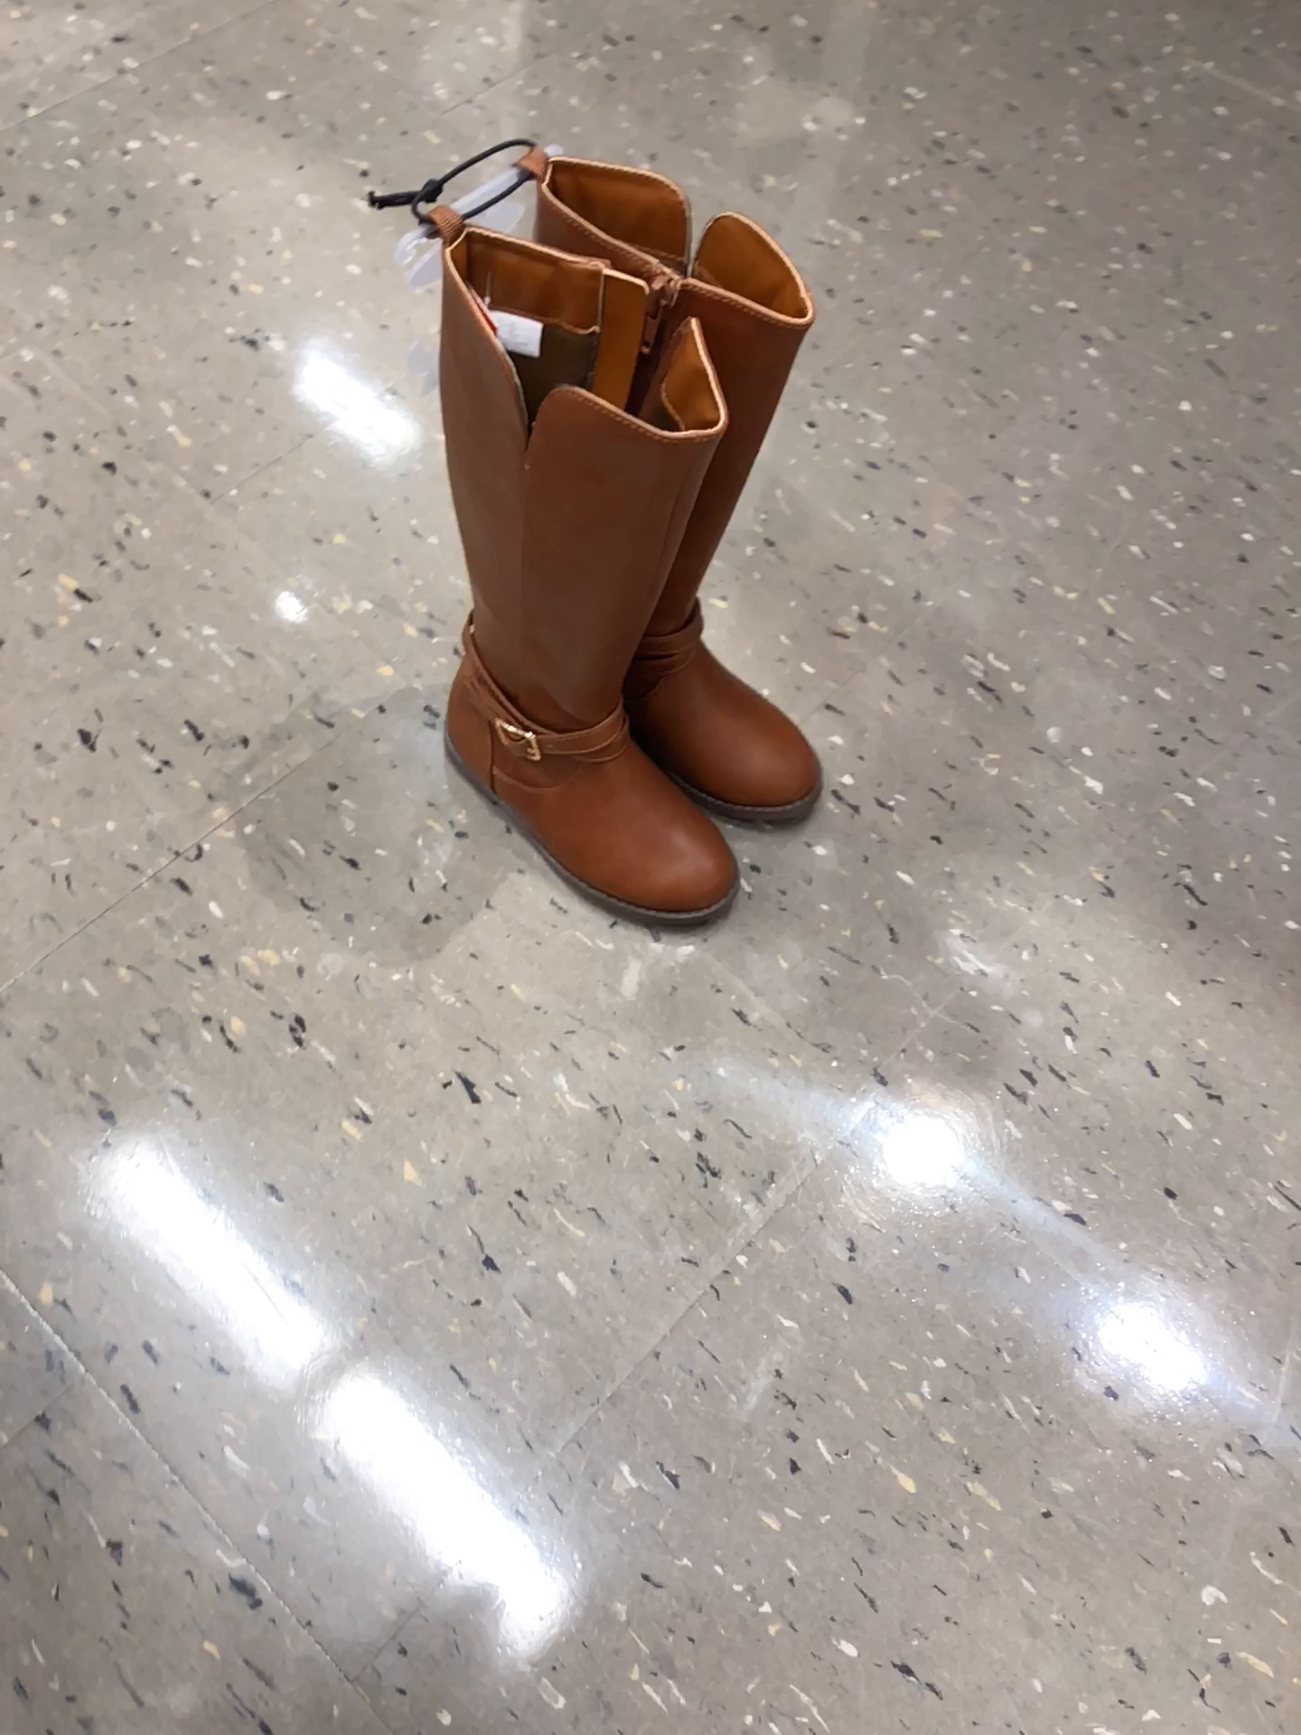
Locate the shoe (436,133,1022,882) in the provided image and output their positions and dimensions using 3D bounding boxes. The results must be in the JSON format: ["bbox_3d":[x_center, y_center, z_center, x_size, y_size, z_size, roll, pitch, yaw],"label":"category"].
[{"bbox_3d":[0.013,-0.128,0.604,0.190,0.270,0.070,31,64,9],"label":"shoe"}]

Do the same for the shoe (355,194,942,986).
[{"bbox_3d":[-0.021,-0.088,0.570,0.180,0.270,0.070,33,59,11],"label":"shoe"}]
